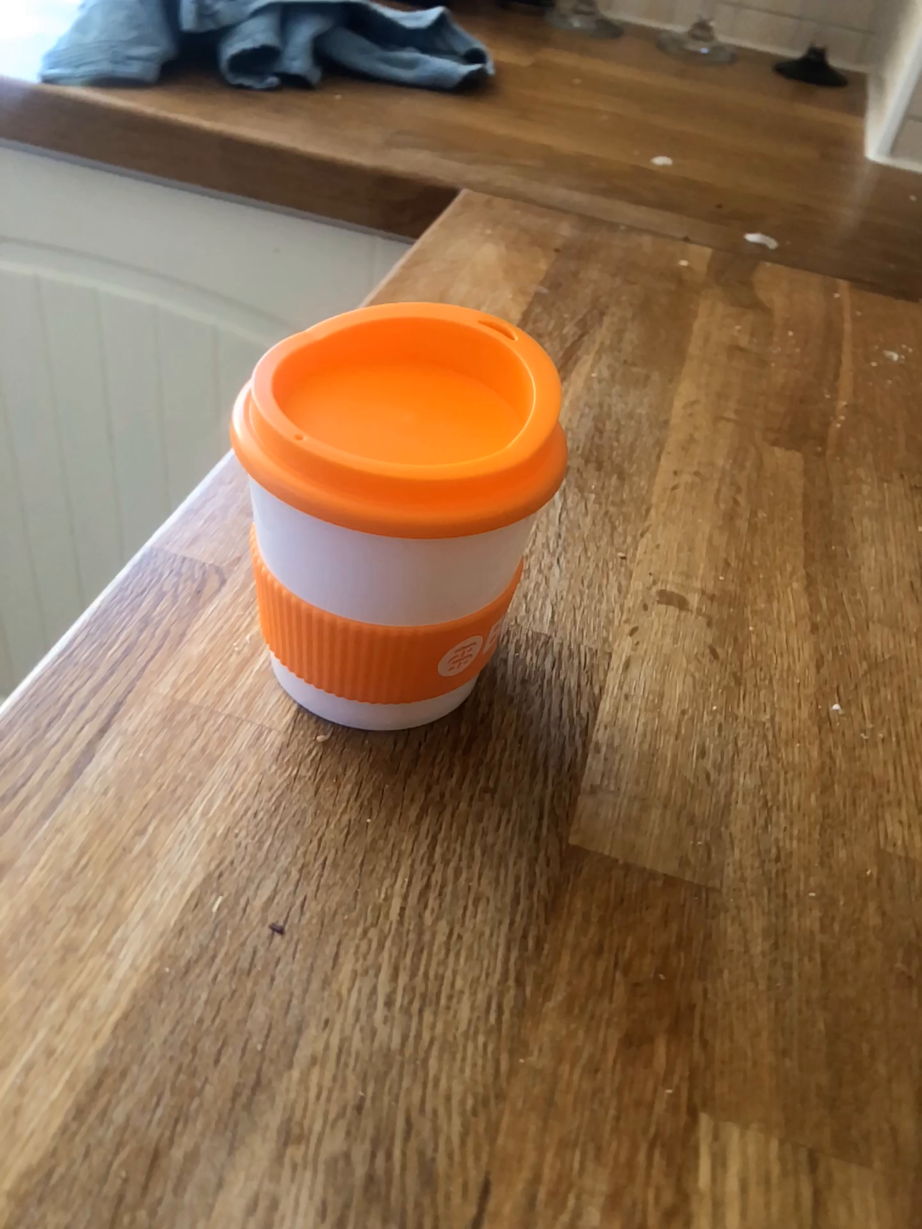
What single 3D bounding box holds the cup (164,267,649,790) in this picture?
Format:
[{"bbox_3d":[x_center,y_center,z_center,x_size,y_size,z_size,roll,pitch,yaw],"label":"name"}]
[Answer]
[{"bbox_3d":[-0.017,-0.028,0.280,0.081,0.089,0.089,33,45,25],"label":"cup"}]
